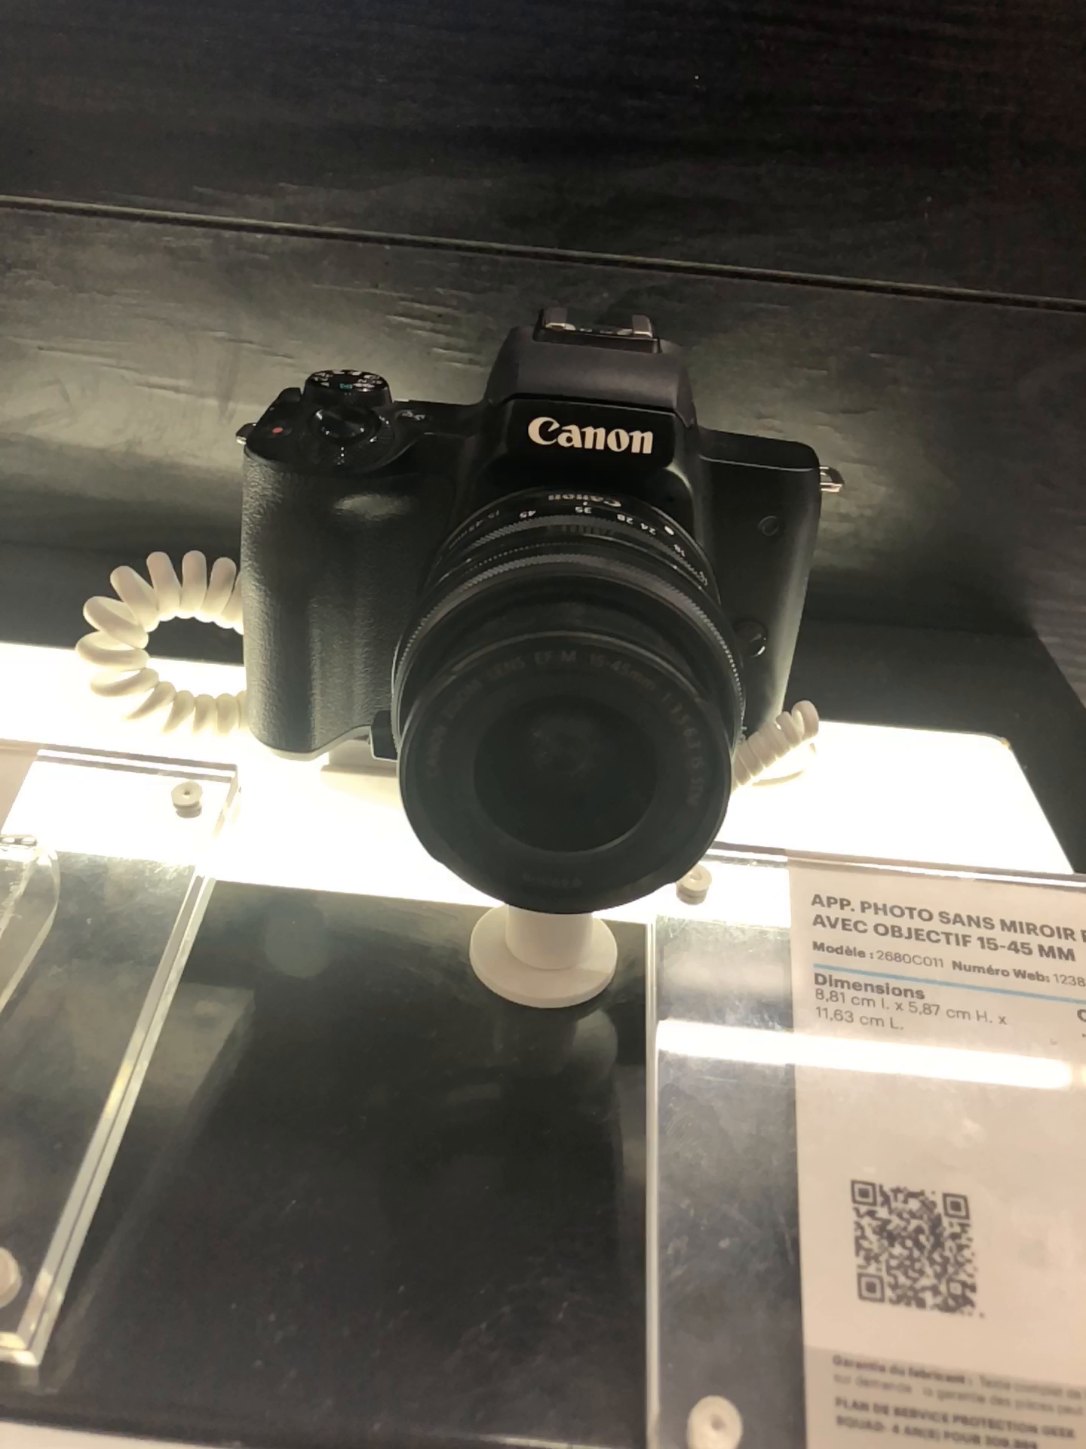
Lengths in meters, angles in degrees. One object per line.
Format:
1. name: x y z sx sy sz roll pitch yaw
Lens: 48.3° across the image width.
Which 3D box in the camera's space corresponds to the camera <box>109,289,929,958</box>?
1. camera: -0.004 -0.027 0.239 0.119 0.089 0.101 5 27 1
